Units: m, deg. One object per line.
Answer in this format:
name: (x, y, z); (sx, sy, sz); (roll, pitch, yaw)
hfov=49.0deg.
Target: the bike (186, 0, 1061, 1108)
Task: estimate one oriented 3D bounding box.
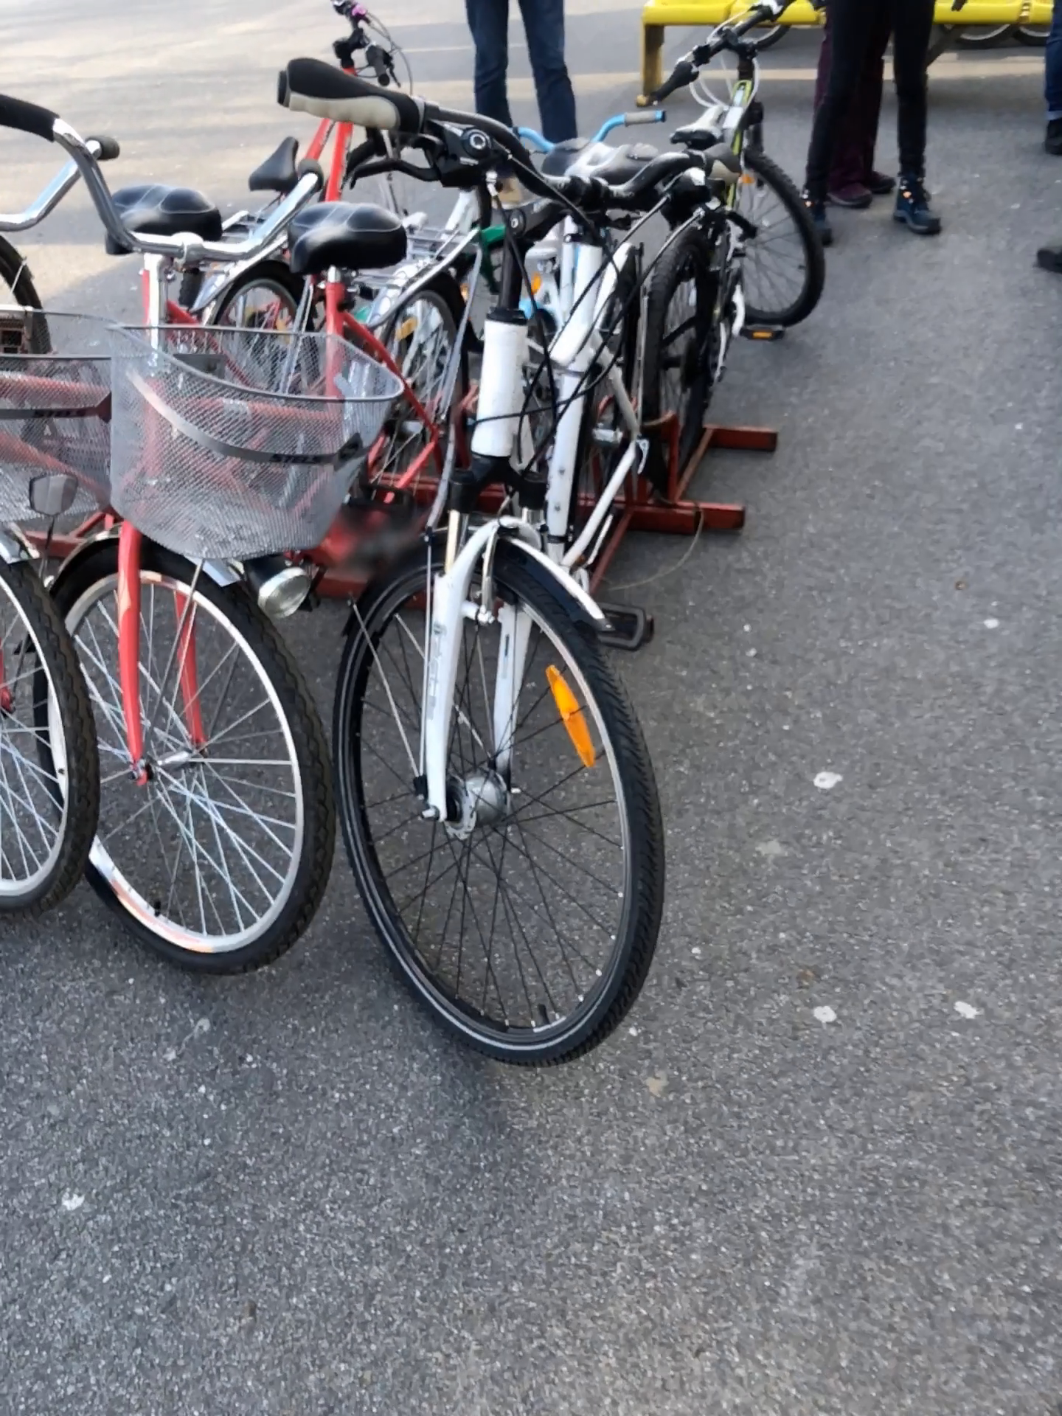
bike: (0.159, -0.448, 1.786); (0.619, 1.163, 1.609); (-2, 37, 6)
